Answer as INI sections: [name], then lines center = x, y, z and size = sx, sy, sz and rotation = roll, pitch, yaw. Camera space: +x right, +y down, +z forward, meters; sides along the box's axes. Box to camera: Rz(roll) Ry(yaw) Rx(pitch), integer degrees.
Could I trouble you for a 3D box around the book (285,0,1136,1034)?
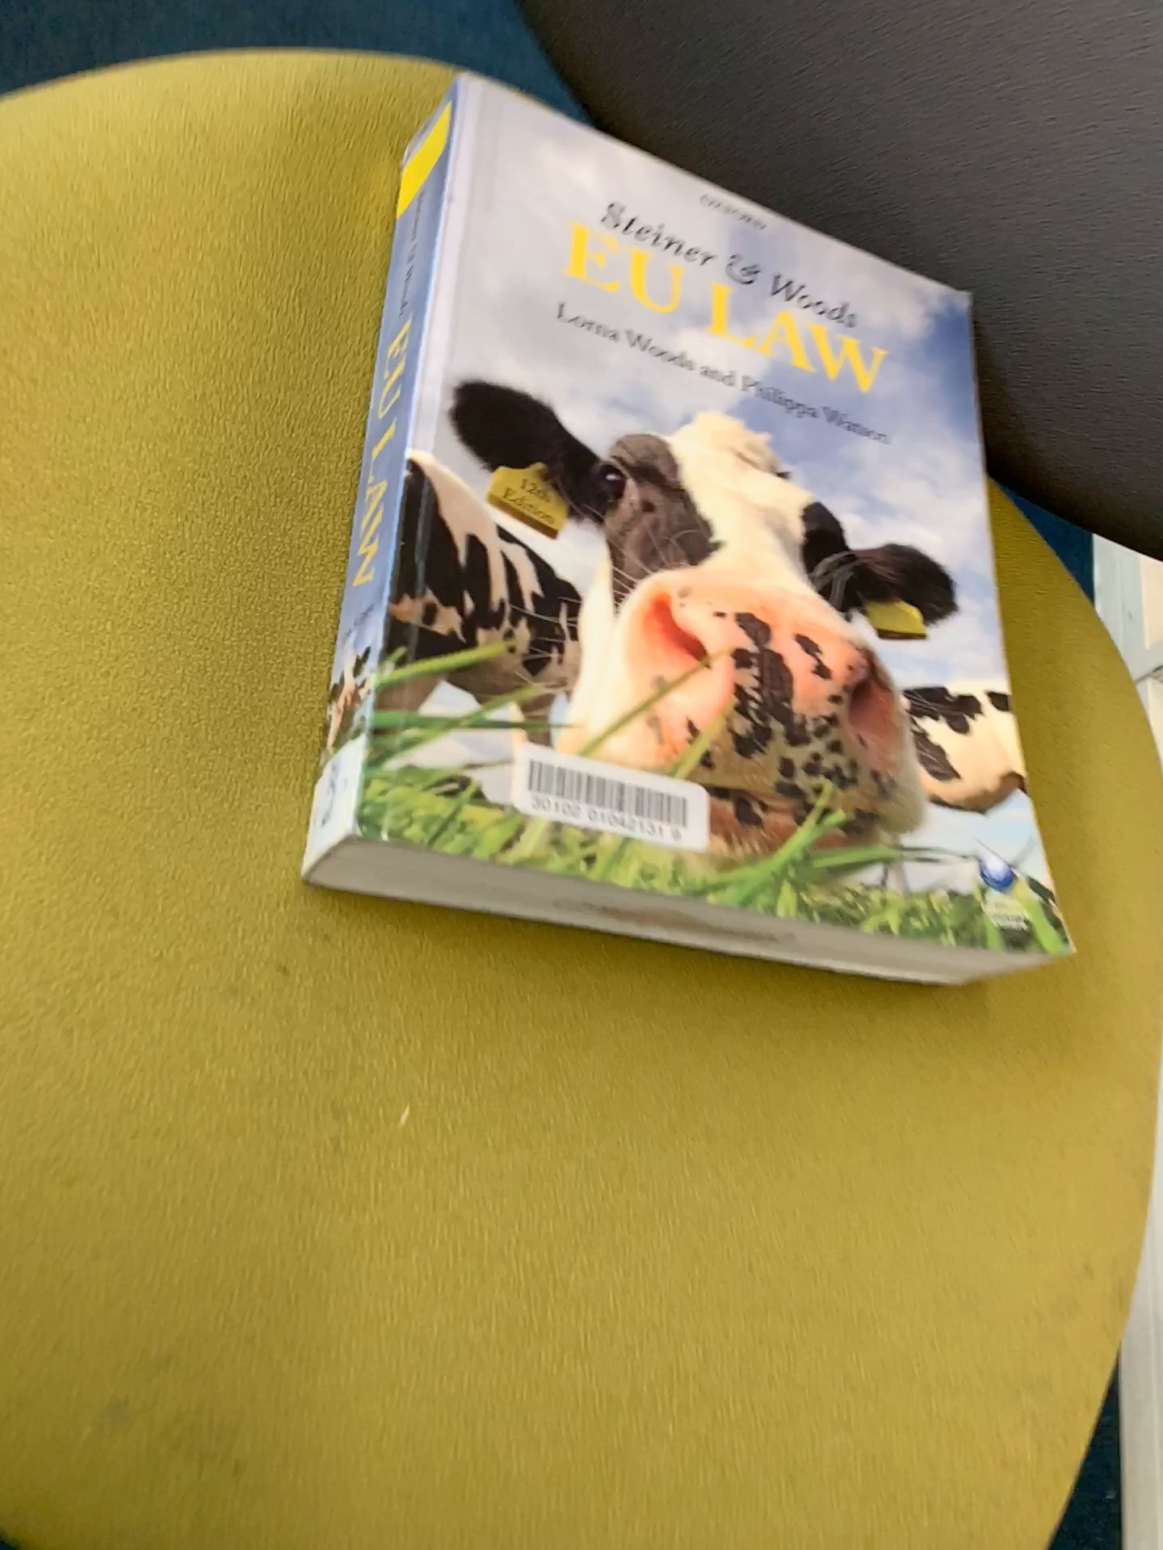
[book]
center = 0.038, -0.074, 0.338
size = 0.200, 0.050, 0.262
rotation = 13, 61, -22
